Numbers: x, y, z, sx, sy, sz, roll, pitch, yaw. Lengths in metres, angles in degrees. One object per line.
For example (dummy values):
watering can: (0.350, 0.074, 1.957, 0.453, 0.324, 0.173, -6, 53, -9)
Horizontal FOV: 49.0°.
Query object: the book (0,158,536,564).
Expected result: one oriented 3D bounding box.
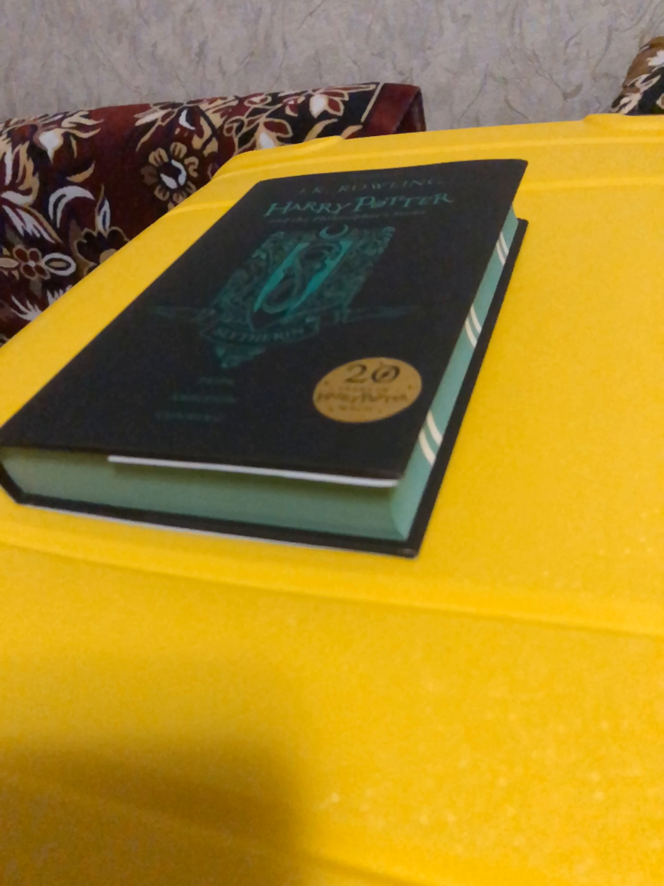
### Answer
book: (-0.008, -0.050, 0.270, 0.137, 0.030, 0.205, 5, 40, 22)
